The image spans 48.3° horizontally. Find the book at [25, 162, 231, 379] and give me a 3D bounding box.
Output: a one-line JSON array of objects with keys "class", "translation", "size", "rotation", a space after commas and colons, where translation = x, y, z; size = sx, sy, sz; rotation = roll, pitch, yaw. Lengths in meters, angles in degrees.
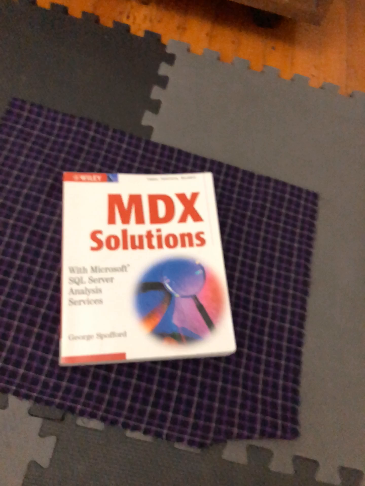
[{"class": "book", "translation": [-0.070, 0.022, 0.512], "size": [0.220, 0.050, 0.261], "rotation": [-1, 66, -11]}]
